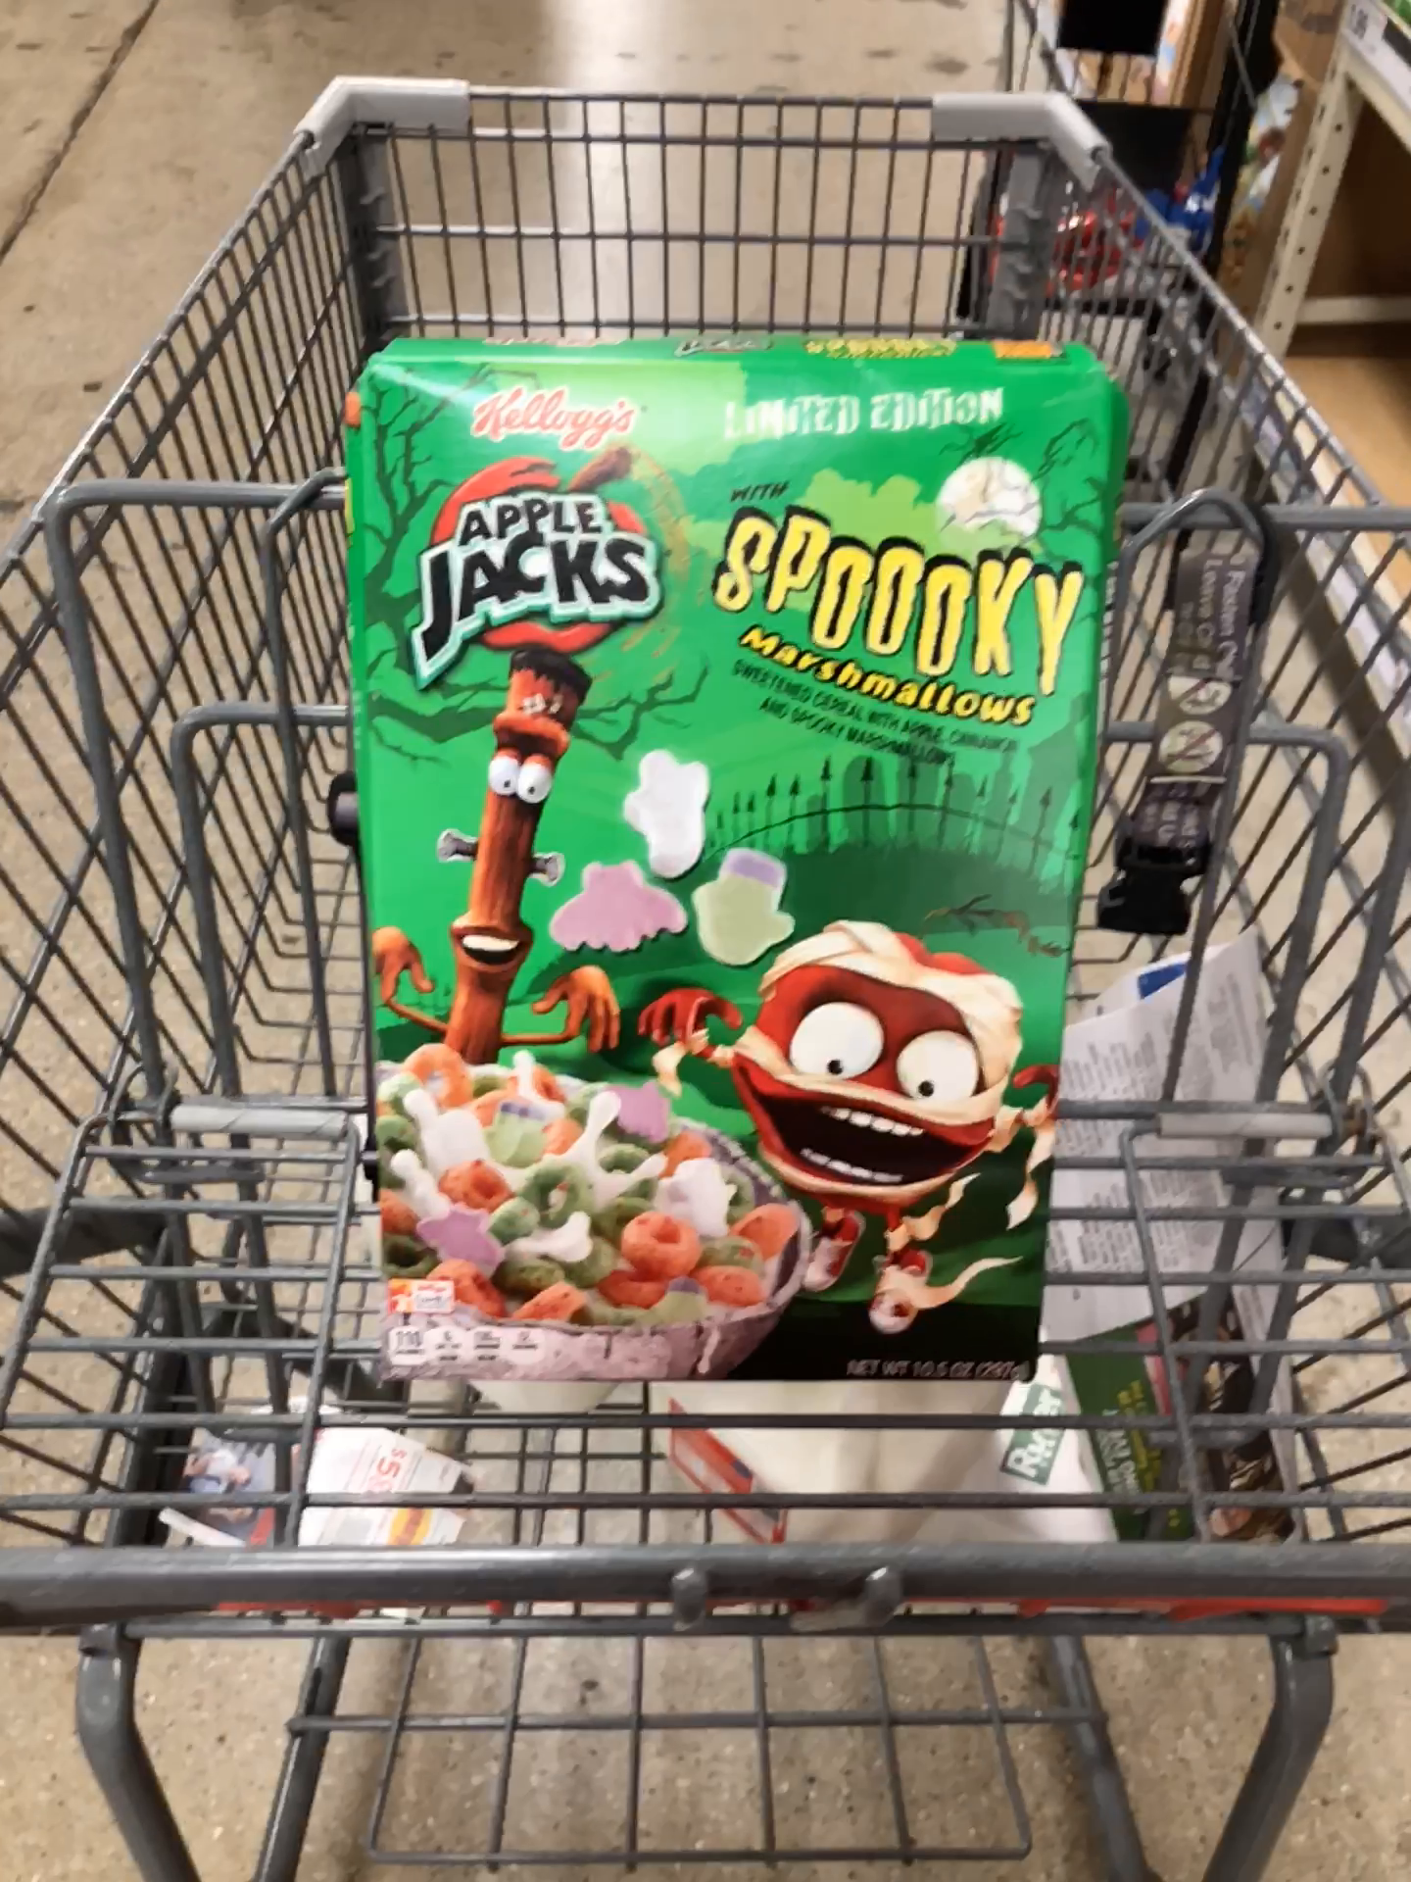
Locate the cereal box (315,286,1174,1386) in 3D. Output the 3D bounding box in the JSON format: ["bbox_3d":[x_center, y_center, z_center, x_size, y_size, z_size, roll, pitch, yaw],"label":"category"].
[{"bbox_3d":[0.007,-0.023,0.429,0.200,0.280,0.070,1,13,-1],"label":"cereal box"}]
